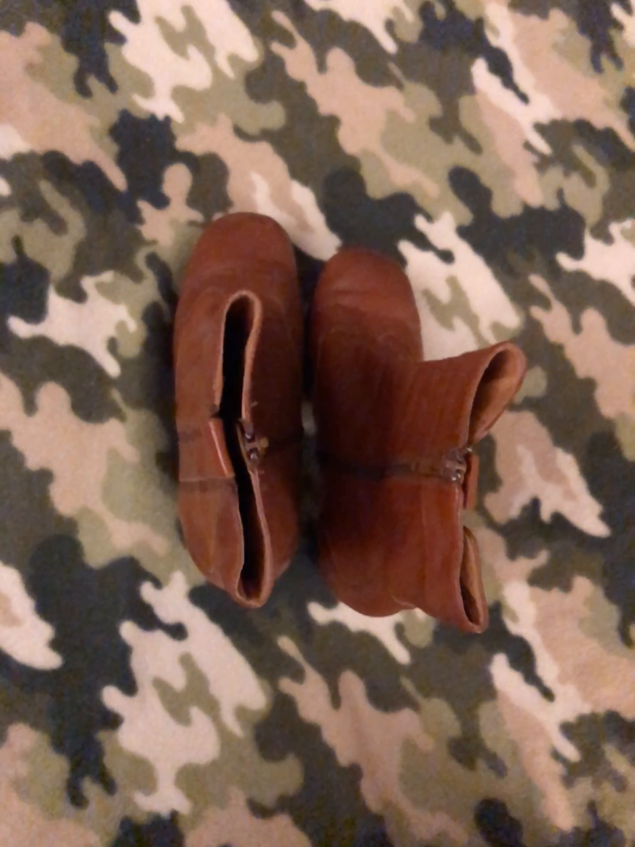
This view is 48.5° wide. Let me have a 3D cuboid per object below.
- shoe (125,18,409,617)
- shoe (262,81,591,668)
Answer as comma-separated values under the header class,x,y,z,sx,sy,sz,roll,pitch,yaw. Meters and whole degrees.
class,x,y,z,sx,sy,sz,roll,pitch,yaw
shoe,-0.033,-0.030,0.354,0.090,0.190,0.220,5,81,-11
shoe,0.041,-0.010,0.365,0.090,0.190,0.220,8,81,-10
